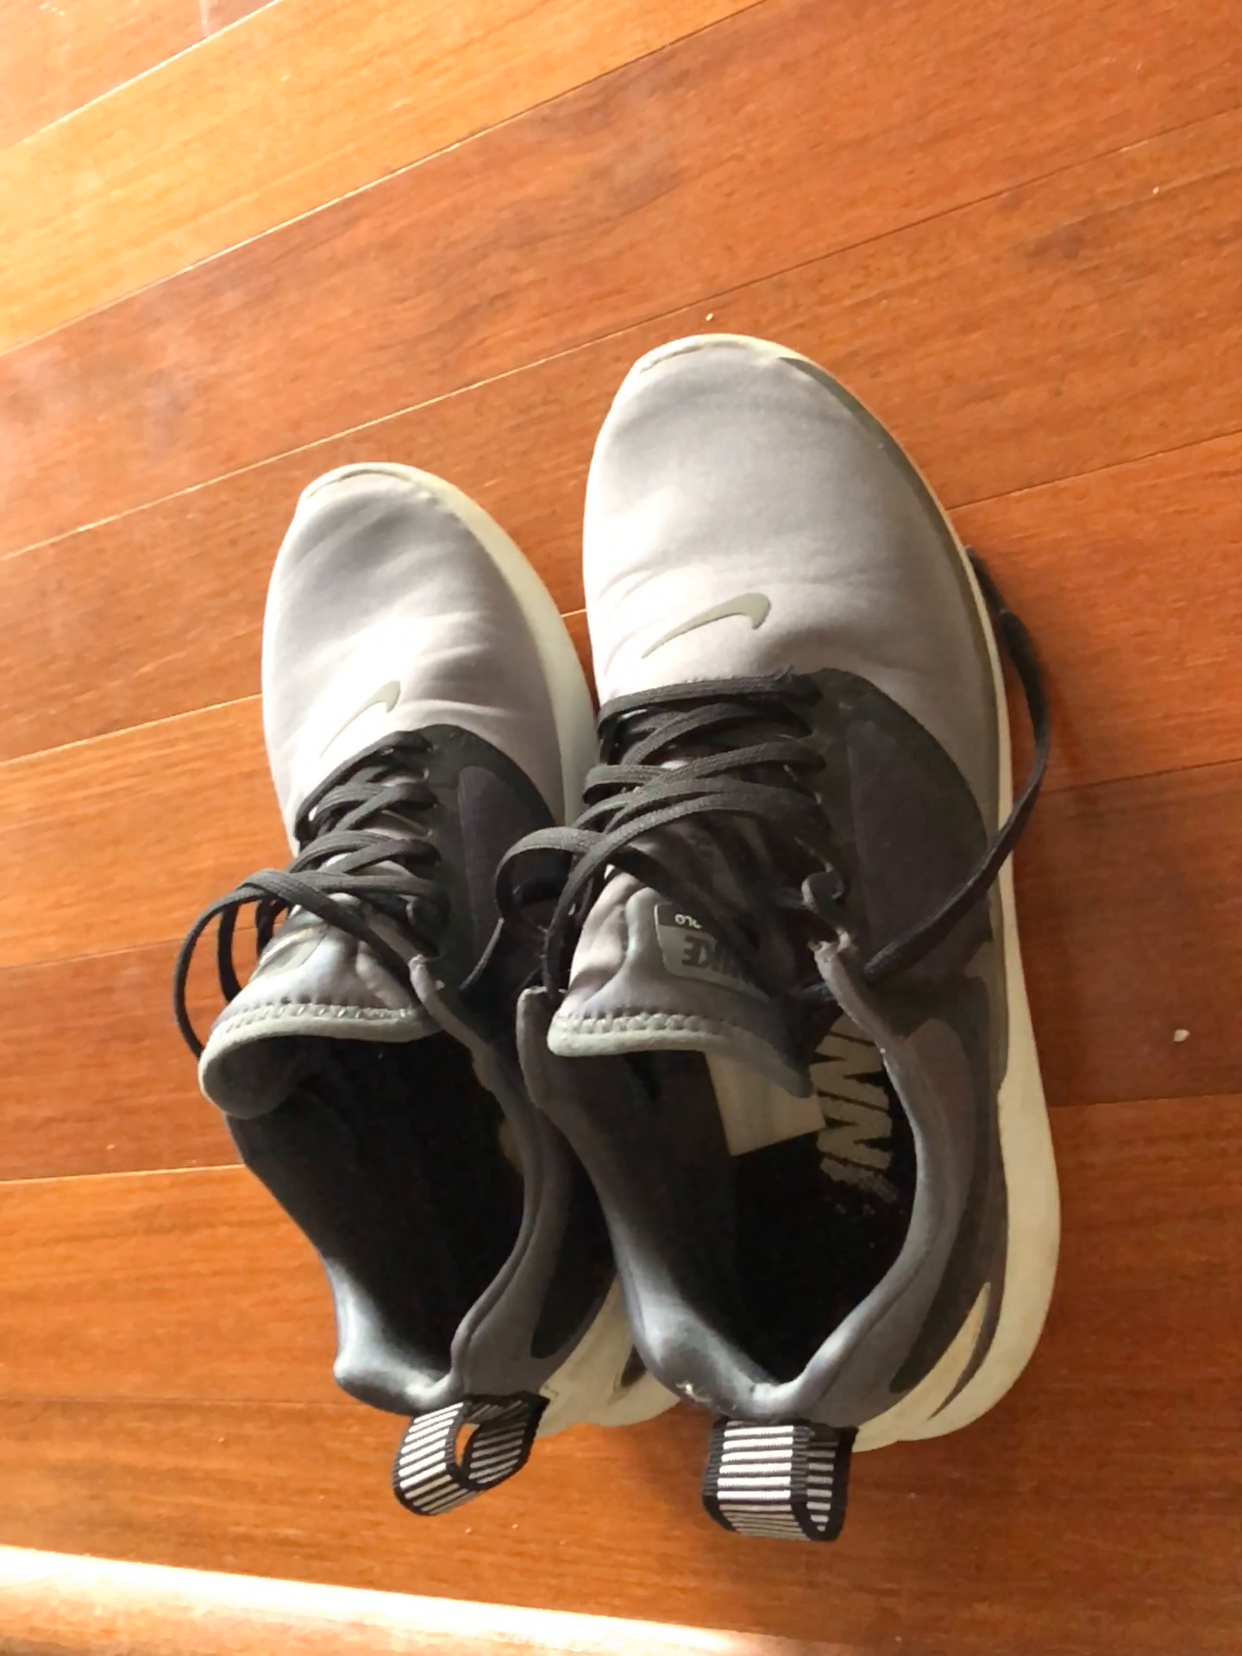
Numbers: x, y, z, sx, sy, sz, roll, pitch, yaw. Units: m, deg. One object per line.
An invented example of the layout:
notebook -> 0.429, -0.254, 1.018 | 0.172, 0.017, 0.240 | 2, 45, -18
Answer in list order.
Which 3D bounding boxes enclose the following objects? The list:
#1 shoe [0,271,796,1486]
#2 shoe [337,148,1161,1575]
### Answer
shoe -> -0.058, 0.014, 0.340 | 0.110, 0.100, 0.240 | -20, 80, 26
shoe -> 0.030, 0.010, 0.297 | 0.110, 0.100, 0.240 | -12, 83, 27
